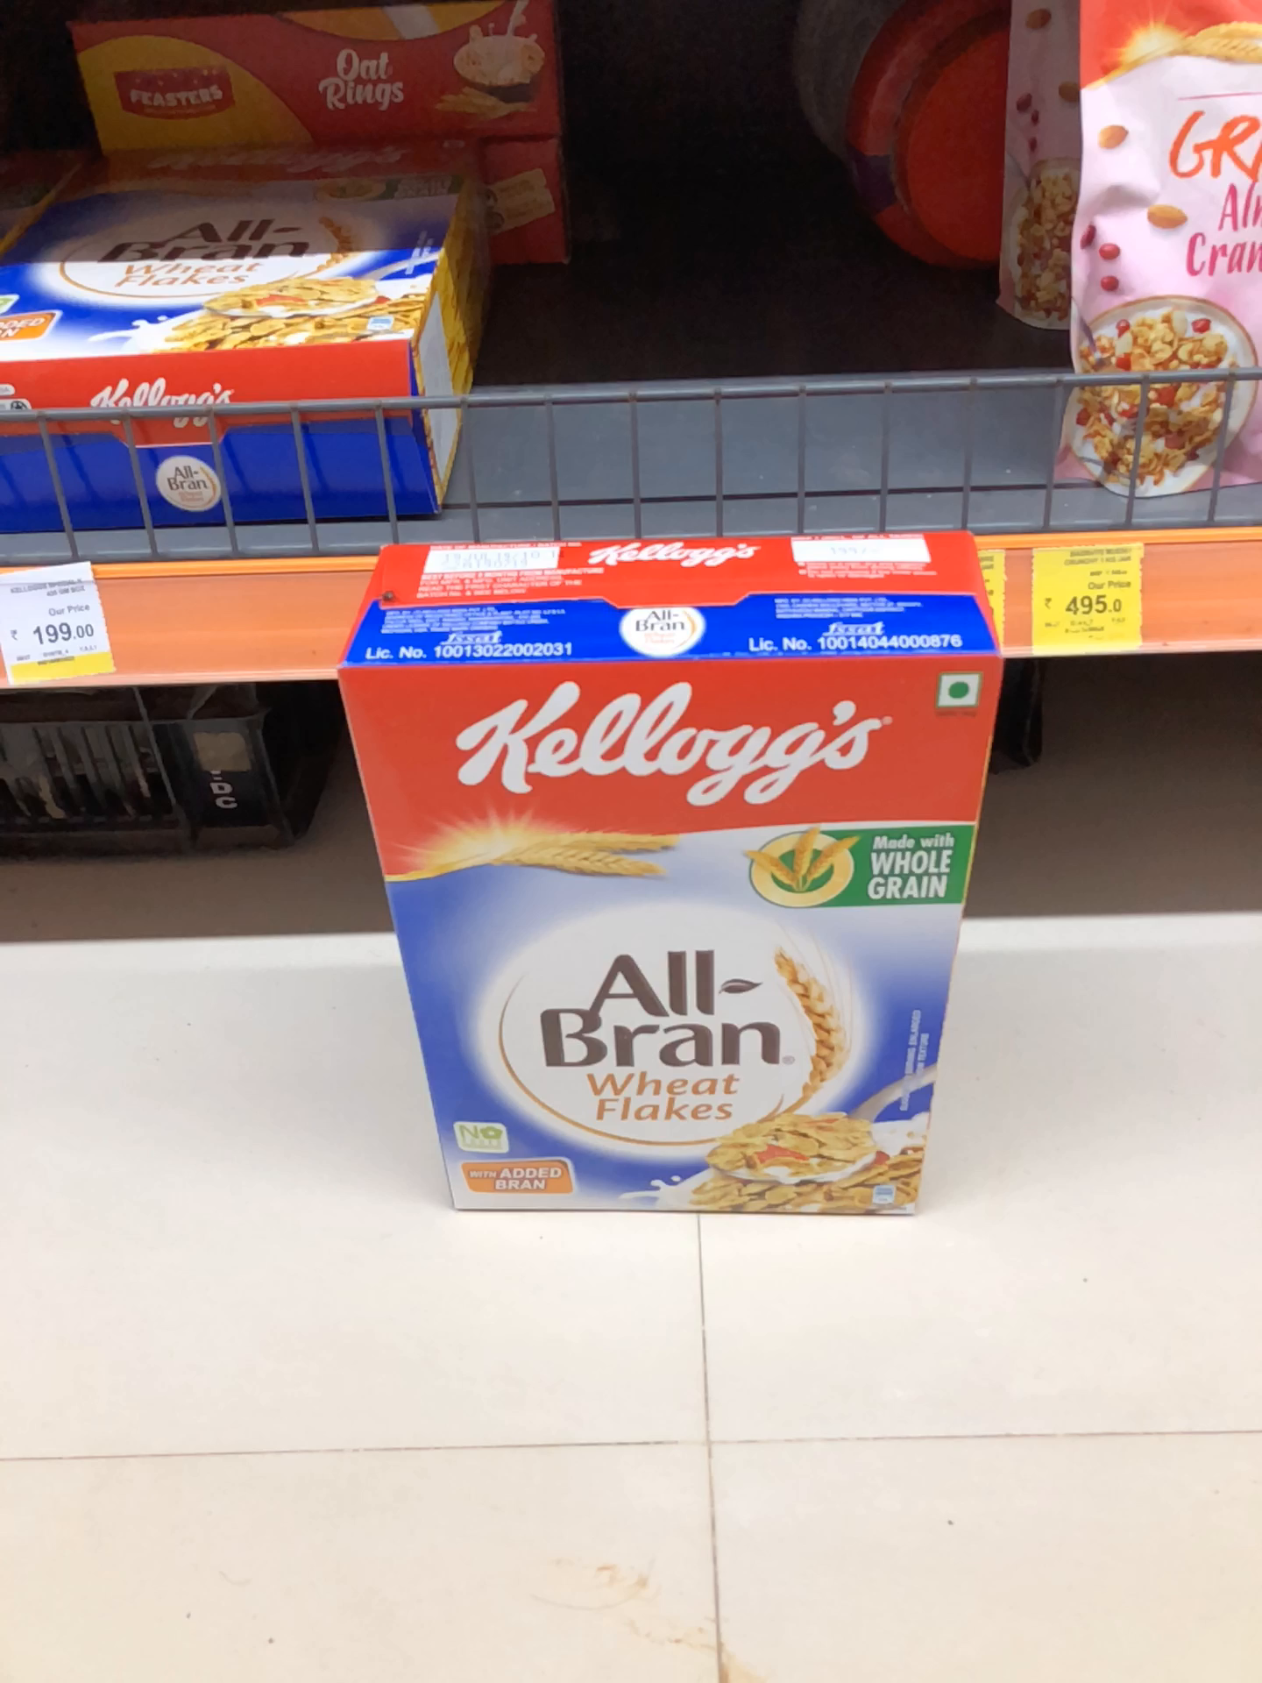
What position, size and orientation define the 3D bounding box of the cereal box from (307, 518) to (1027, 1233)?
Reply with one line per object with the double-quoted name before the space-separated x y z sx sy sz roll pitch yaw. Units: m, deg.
"cereal box" 0.015 0.026 0.480 0.190 0.258 0.081 0 41 3
